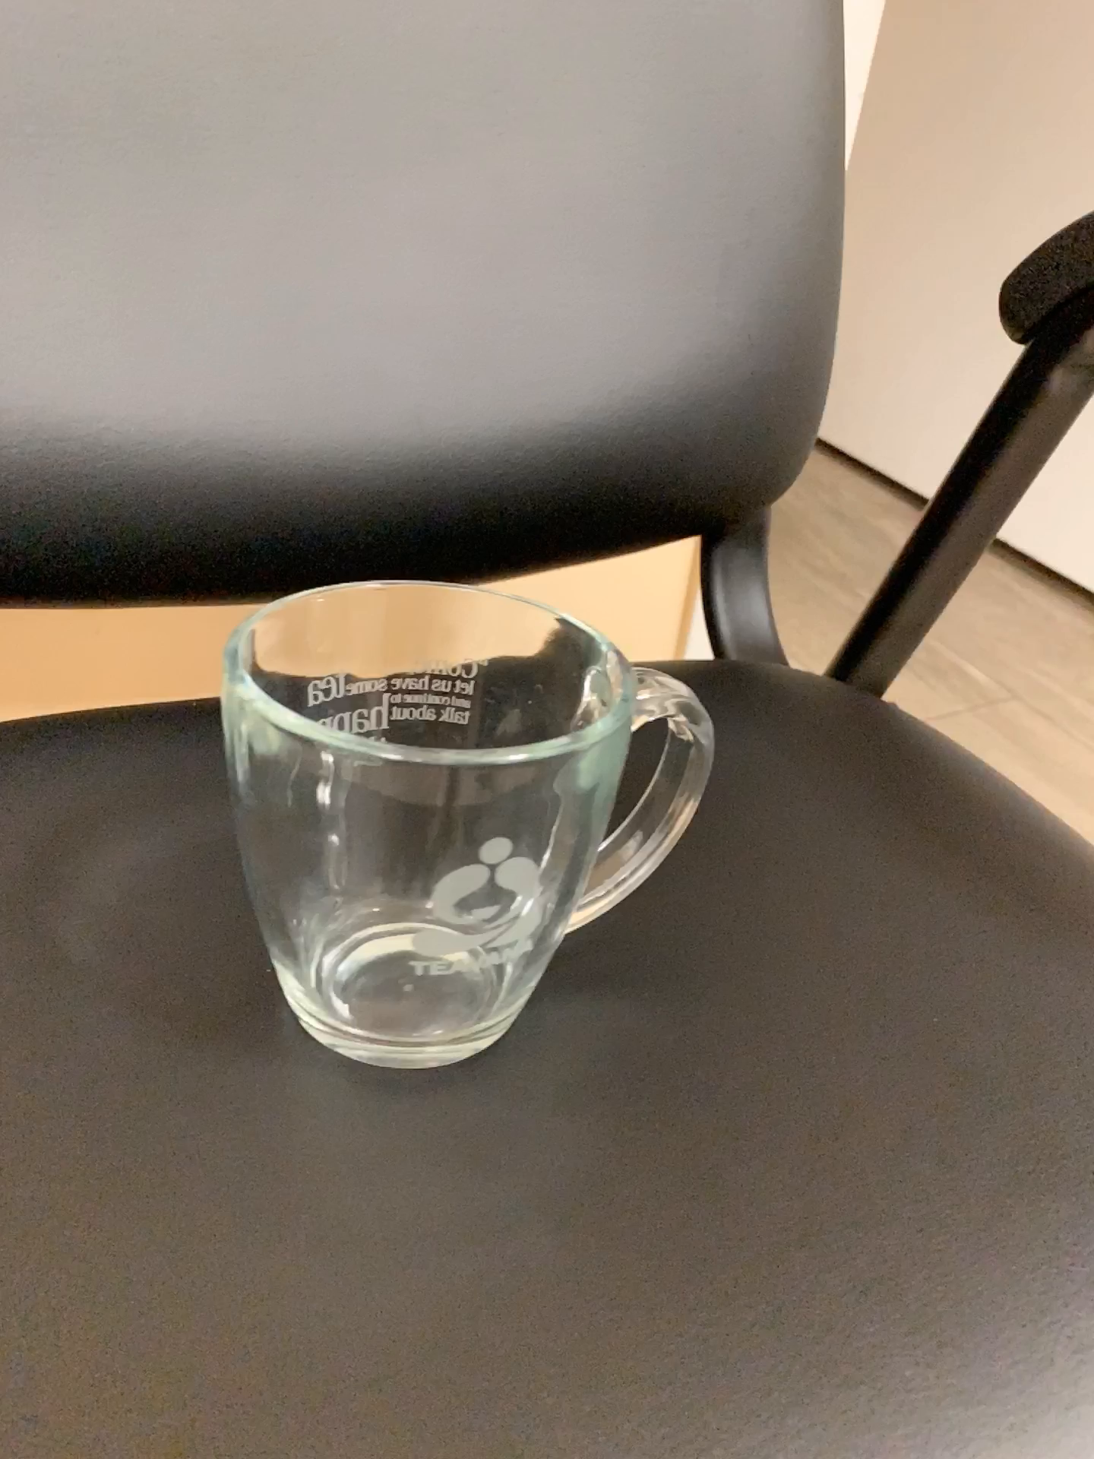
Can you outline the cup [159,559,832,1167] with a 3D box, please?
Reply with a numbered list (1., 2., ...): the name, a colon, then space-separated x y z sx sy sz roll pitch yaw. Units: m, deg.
1. cup: -0.019 0.023 0.302 0.140 0.100 0.096 -10 32 -29
